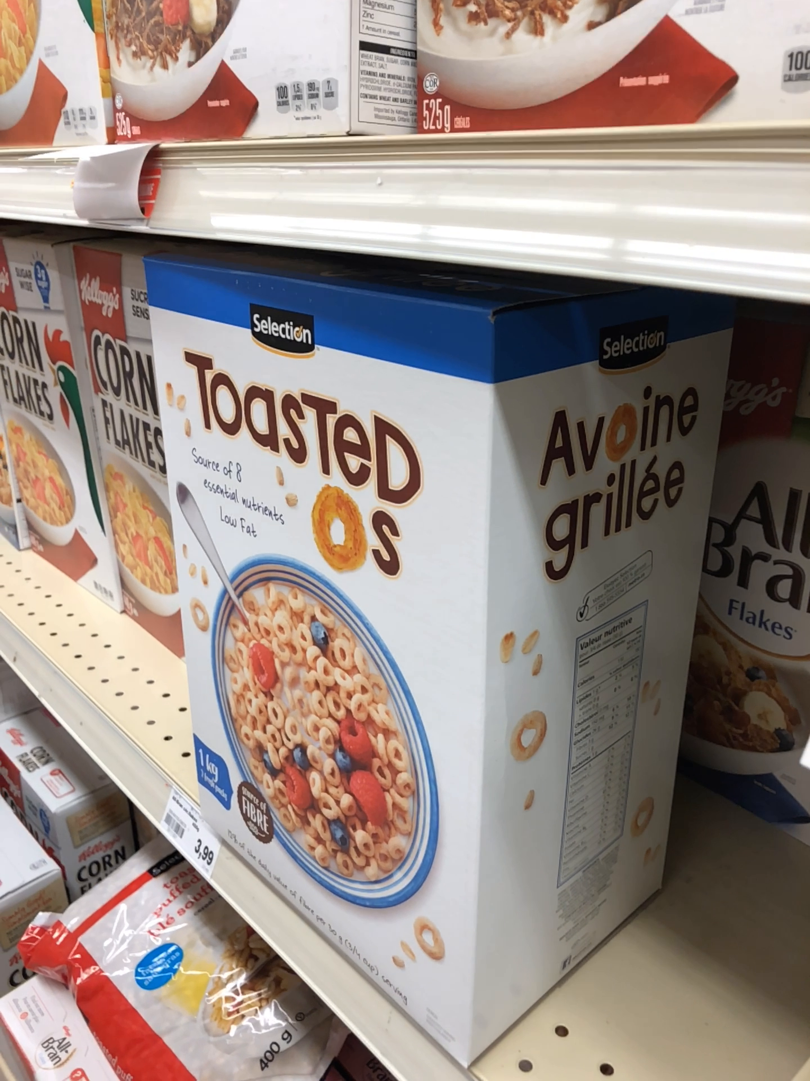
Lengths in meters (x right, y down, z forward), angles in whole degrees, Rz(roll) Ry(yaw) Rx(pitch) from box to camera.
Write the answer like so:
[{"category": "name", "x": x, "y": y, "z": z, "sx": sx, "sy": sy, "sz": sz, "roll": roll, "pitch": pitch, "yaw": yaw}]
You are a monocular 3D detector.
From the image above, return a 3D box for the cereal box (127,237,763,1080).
[{"category": "cereal box", "x": 0.004, "y": 0.031, "z": 0.458, "sx": 0.160, "sy": 0.338, "sz": 0.241, "roll": -17, "pitch": 28, "yaw": -40}]
